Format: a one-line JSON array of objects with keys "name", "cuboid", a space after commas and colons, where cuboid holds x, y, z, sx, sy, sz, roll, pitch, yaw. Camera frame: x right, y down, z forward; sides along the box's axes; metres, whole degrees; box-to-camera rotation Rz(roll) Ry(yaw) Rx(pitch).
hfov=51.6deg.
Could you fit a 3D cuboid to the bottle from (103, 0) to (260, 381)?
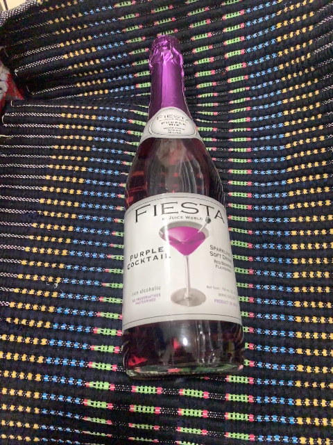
[{"name": "bottle", "cuboid": [0.004, -0.052, 0.291, 0.080, 0.080, 0.331, -3, 61, 2]}]
